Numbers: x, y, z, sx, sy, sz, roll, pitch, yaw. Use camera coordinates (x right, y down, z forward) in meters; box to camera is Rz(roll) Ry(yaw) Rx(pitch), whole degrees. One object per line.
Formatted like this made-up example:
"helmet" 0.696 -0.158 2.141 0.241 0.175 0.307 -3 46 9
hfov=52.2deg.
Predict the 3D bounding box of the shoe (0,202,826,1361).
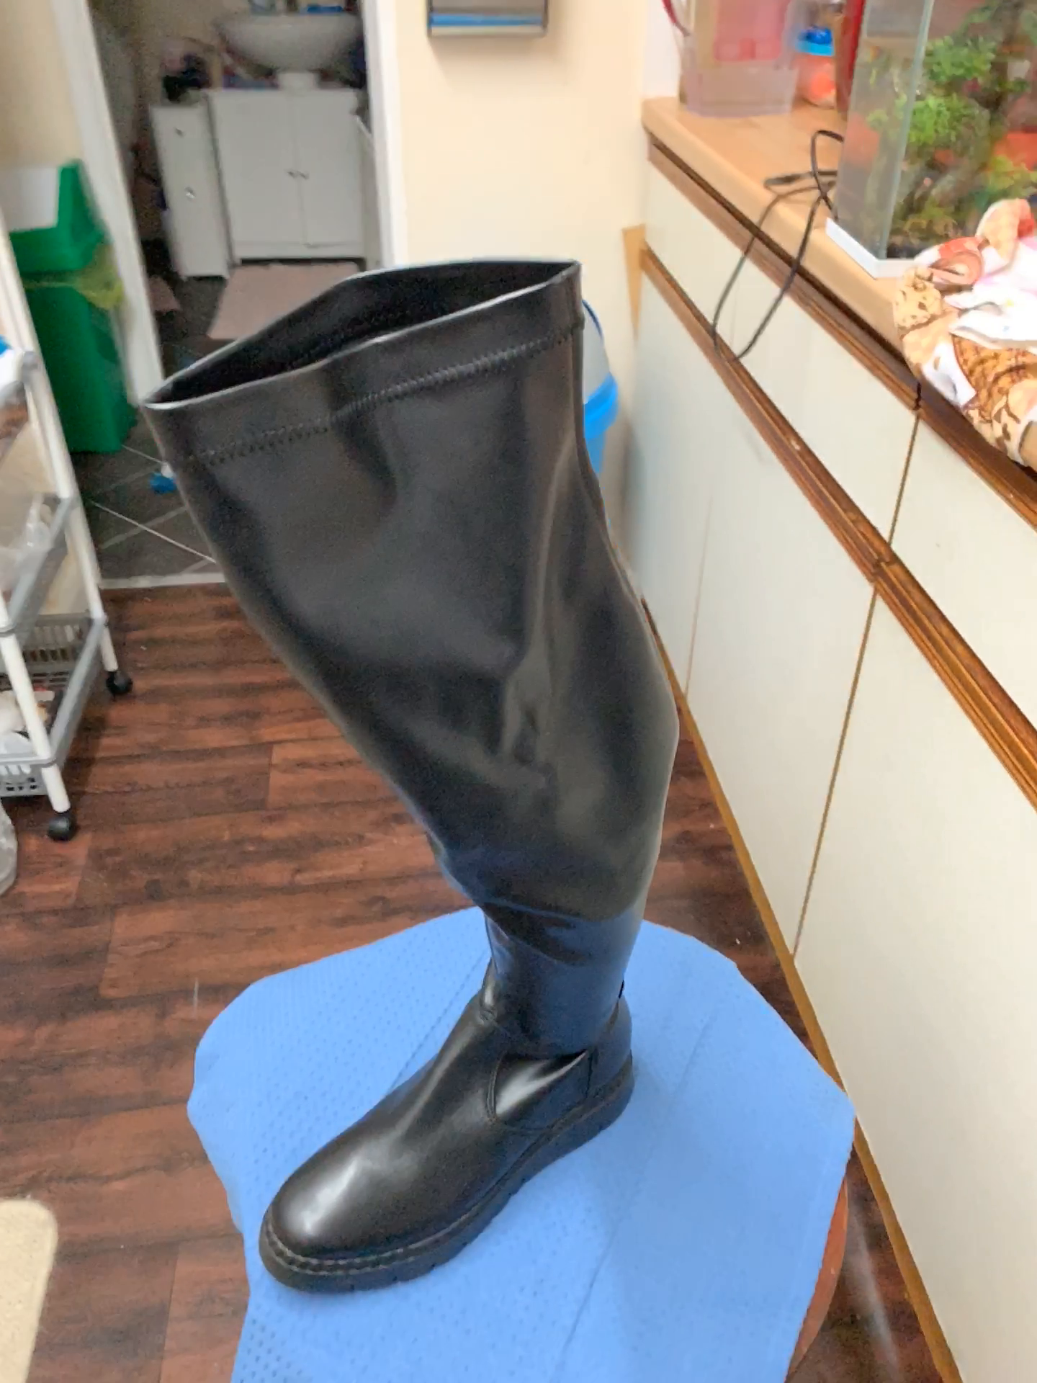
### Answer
"shoe" -0.030 0.074 0.520 0.272 0.535 0.107 -23 42 -29
